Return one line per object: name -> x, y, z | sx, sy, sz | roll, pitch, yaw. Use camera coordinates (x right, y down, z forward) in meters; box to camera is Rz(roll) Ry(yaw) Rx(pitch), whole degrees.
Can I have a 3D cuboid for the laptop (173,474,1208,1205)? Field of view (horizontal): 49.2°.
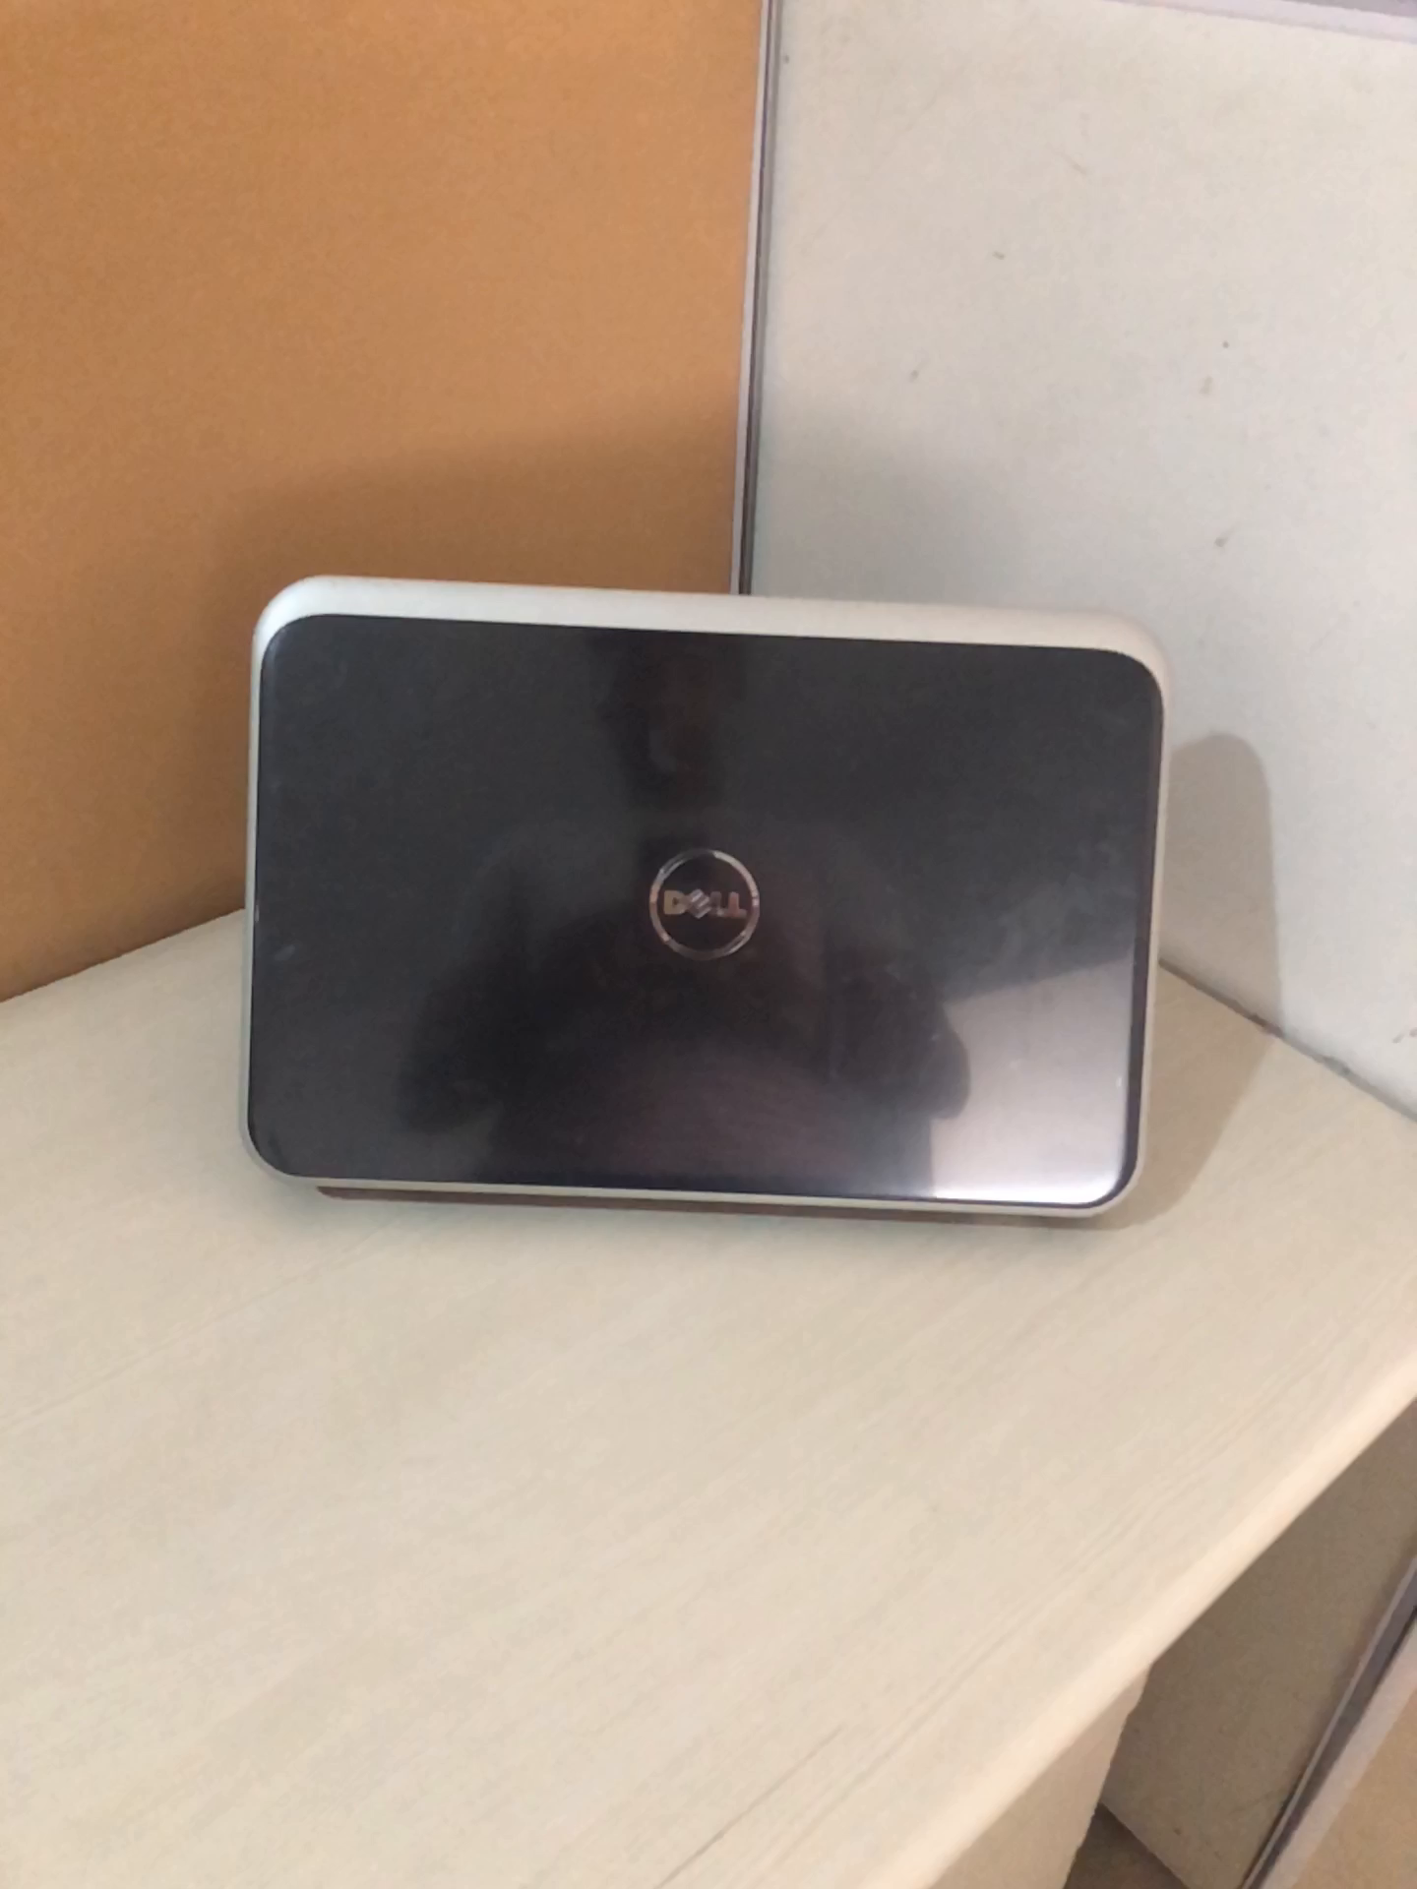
laptop -> -0.002, -0.053, 0.671 | 0.347, 0.192, 0.241 | 3, 37, -1
